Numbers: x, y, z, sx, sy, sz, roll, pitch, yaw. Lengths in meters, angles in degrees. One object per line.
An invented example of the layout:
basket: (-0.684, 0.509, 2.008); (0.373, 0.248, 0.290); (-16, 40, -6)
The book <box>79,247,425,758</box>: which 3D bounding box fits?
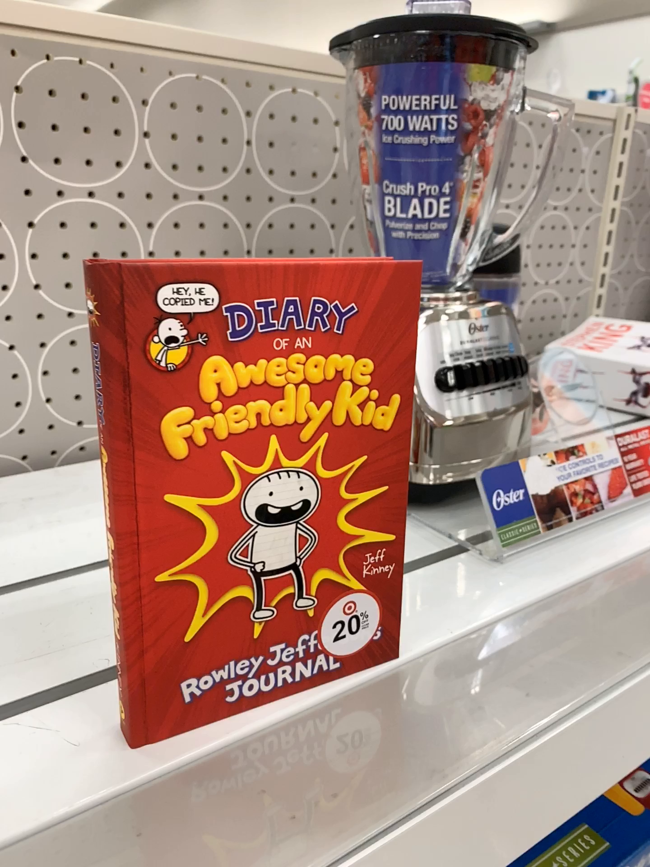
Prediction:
book: (-0.026, 0.025, 0.305); (0.140, 0.209, 0.030); (-9, 19, -29)
